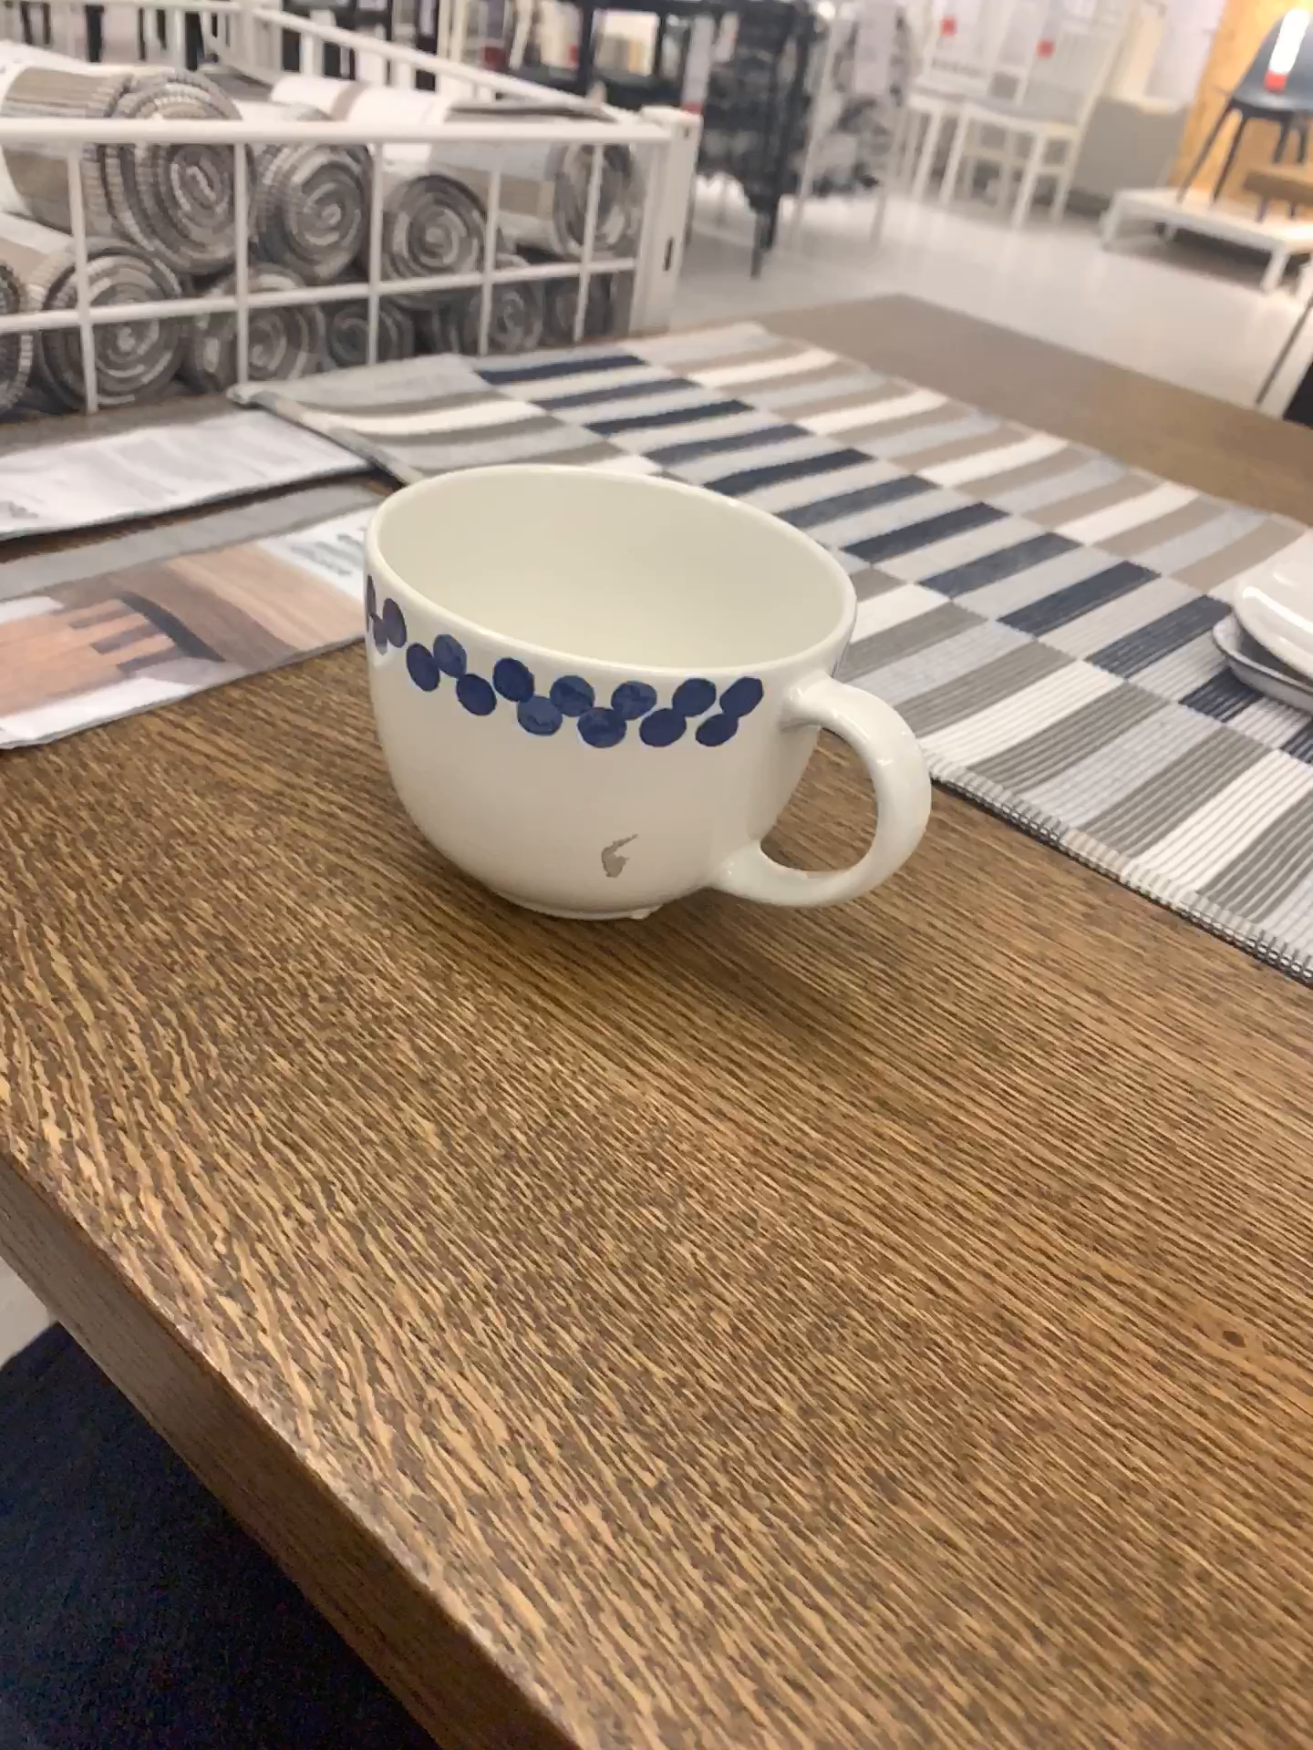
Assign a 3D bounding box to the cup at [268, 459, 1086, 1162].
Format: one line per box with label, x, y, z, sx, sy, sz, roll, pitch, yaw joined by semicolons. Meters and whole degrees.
cup;-0.001;-0.025;0.288;0.130;0.070;0.100;33;40;29
